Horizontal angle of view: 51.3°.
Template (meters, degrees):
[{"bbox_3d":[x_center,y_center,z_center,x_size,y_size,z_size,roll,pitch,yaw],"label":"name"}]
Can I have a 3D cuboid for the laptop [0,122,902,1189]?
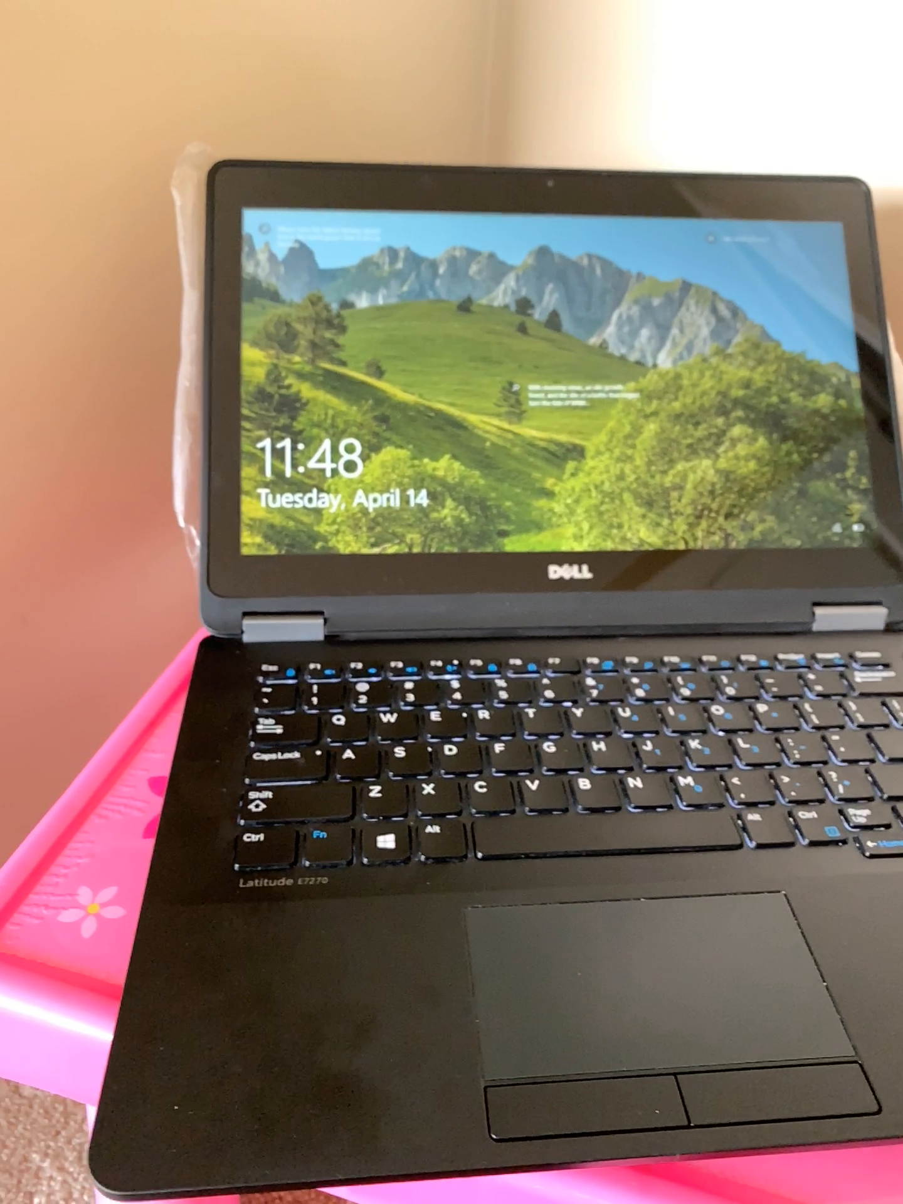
[{"bbox_3d":[0.050,-0.032,0.281,0.261,0.121,0.303,-1,40,-7],"label":"laptop"}]
